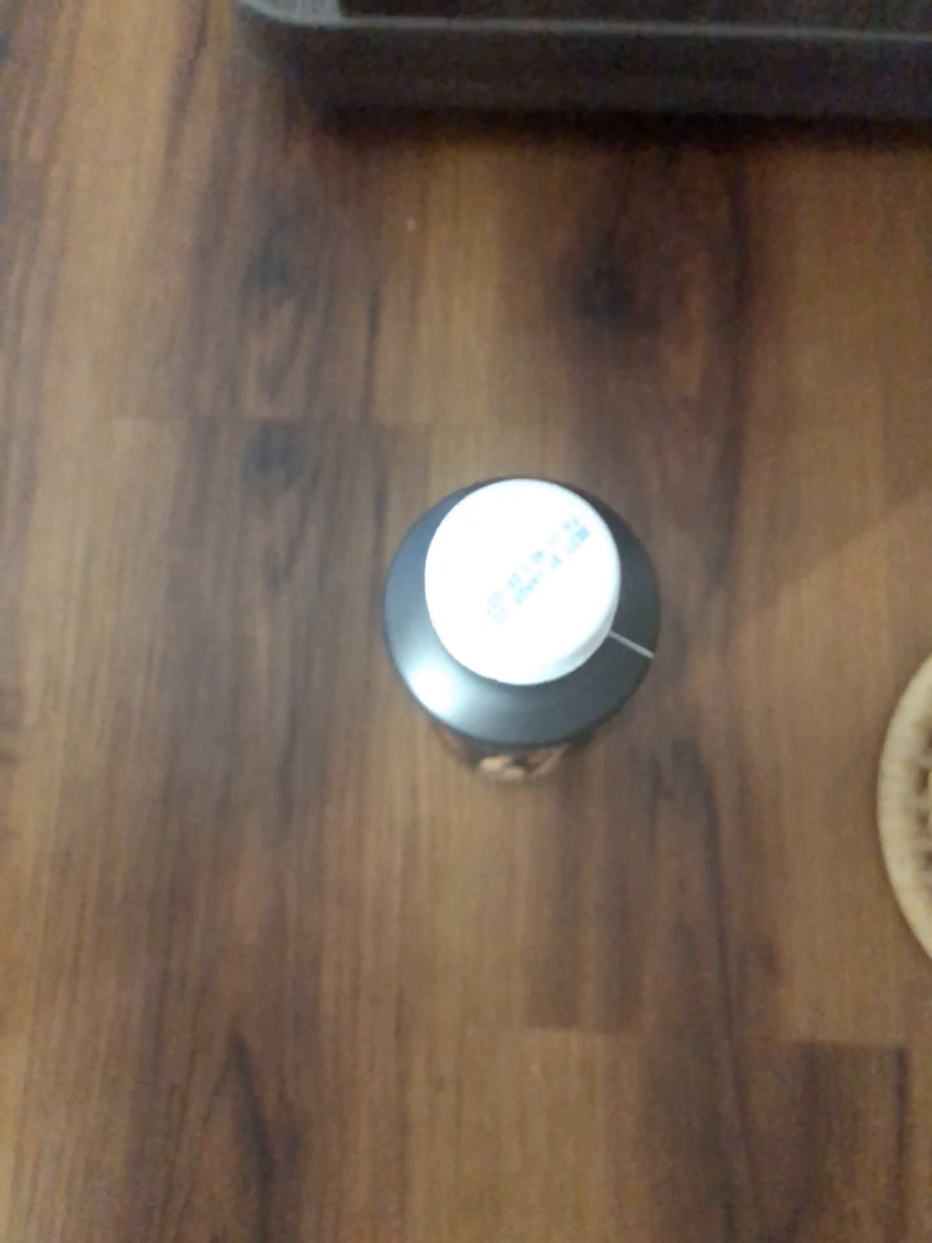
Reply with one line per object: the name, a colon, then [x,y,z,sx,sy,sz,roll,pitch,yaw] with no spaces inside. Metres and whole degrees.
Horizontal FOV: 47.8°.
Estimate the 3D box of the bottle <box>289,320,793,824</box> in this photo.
bottle: [0.018,0.005,0.295,0.070,0.184,0.070,0,78,2]
